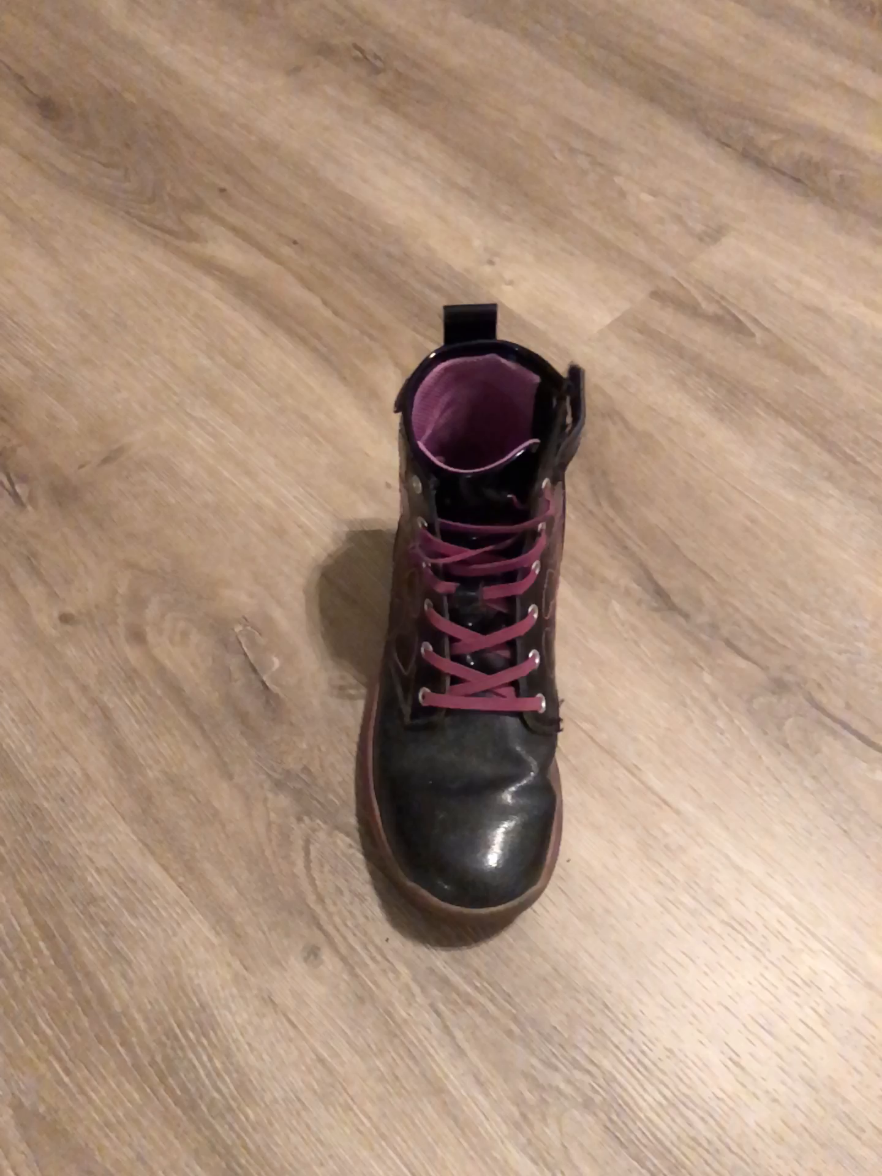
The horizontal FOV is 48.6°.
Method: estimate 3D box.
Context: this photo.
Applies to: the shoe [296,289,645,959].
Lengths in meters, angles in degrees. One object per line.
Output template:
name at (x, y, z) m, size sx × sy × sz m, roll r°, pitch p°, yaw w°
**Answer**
shoe at (0.012, 0.015, 0.405) m, size 0.100 × 0.150 × 0.230 m, roll 2°, pitch 58°, yaw 1°
